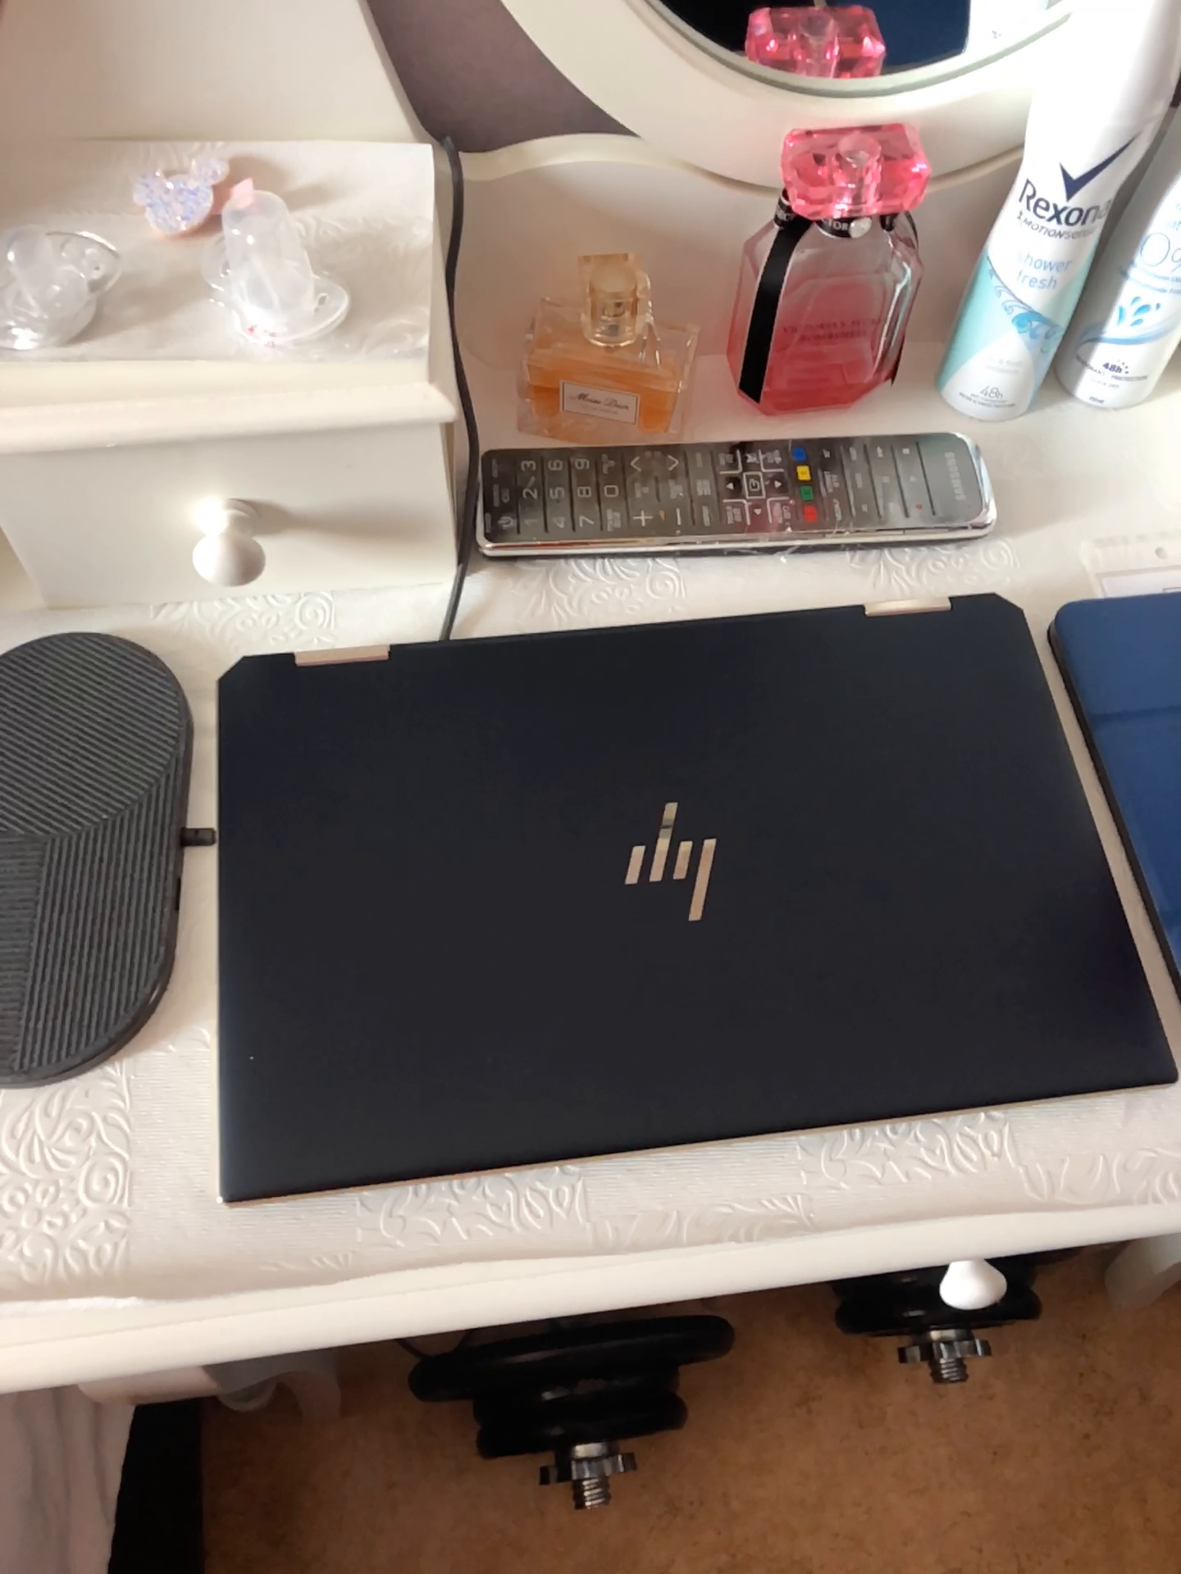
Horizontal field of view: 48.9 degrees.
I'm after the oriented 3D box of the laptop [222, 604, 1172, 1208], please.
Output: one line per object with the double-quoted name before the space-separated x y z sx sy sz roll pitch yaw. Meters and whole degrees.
"laptop" 0.030 0.023 0.393 0.267 0.007 0.161 -5 66 -12
